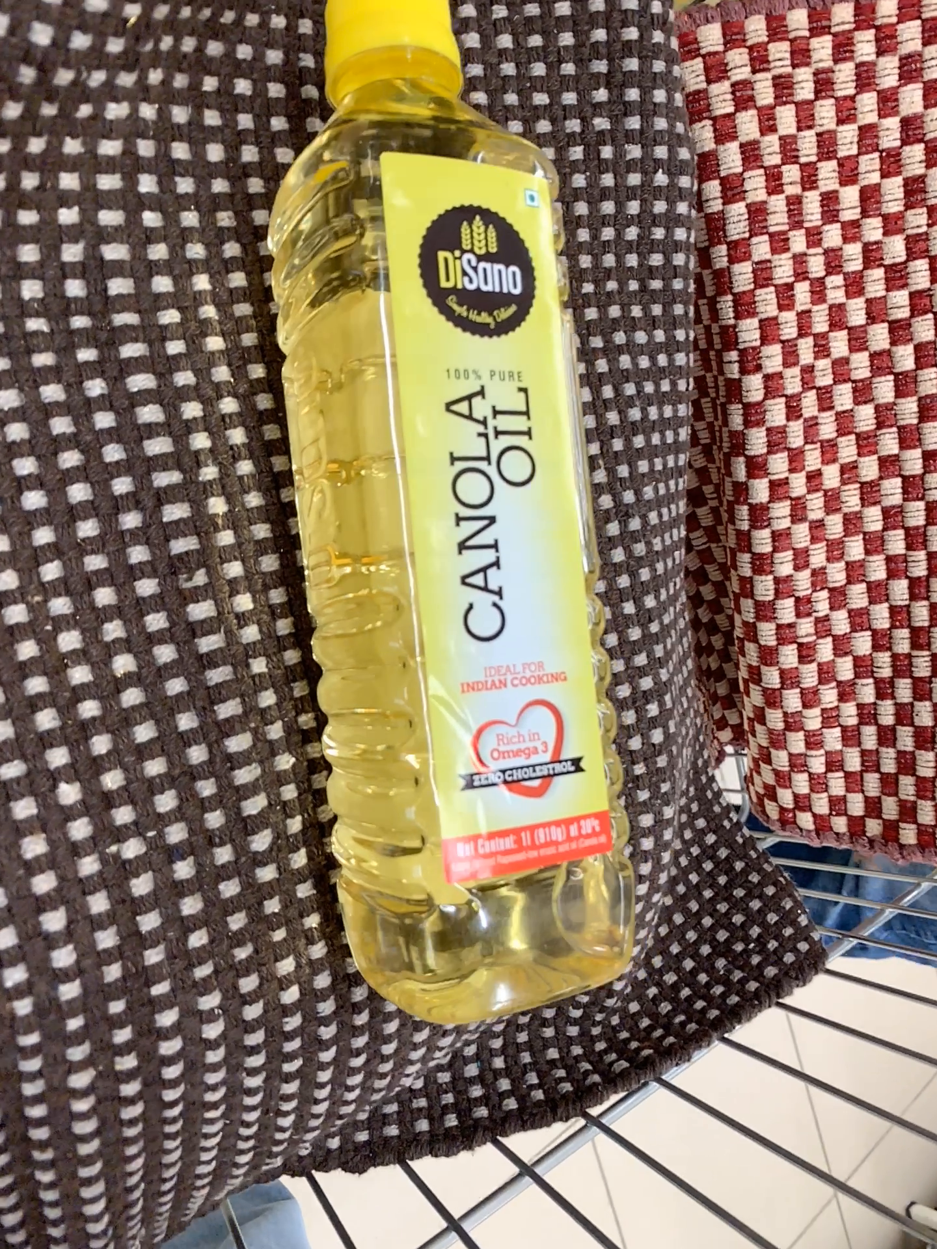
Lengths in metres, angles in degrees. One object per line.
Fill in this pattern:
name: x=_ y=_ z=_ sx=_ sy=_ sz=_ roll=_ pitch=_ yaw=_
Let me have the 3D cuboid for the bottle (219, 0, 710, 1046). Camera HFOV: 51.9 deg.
bottle: x=-0.004 y=-0.049 z=0.218 sx=0.070 sy=0.060 sz=0.250 roll=-5 pitch=89 yaw=-25
